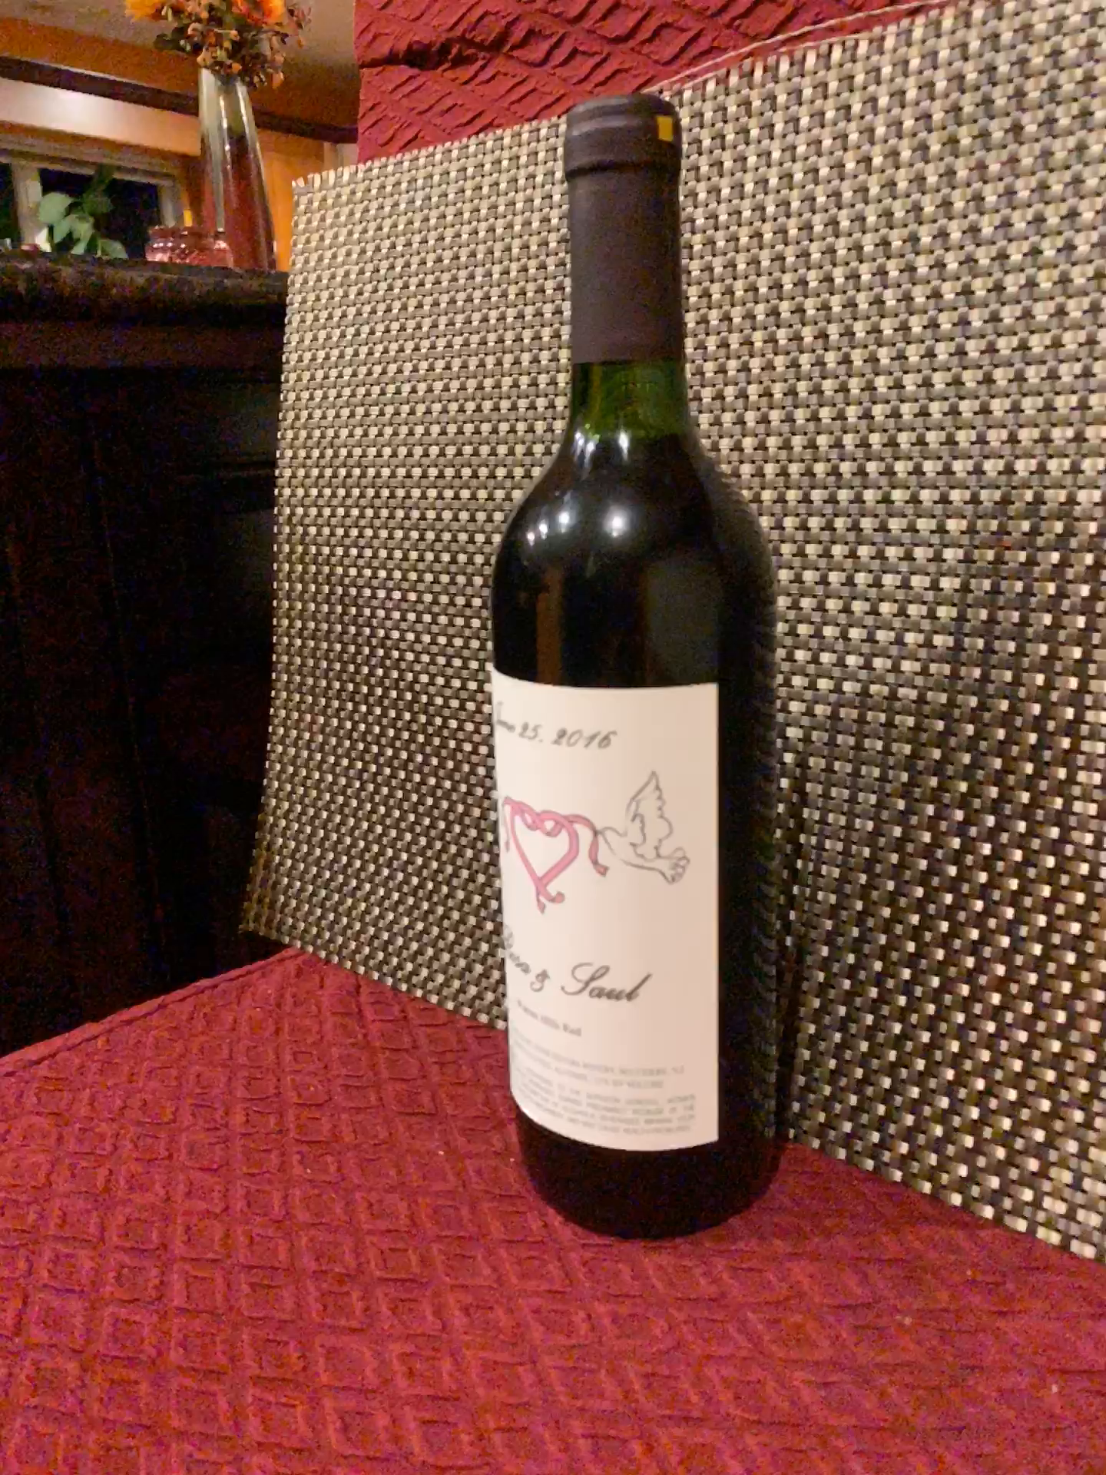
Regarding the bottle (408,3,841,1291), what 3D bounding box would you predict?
[{"bbox_3d":[0.022,-0.012,0.299,0.080,0.289,0.060,11,20,42],"label":"bottle"}]
